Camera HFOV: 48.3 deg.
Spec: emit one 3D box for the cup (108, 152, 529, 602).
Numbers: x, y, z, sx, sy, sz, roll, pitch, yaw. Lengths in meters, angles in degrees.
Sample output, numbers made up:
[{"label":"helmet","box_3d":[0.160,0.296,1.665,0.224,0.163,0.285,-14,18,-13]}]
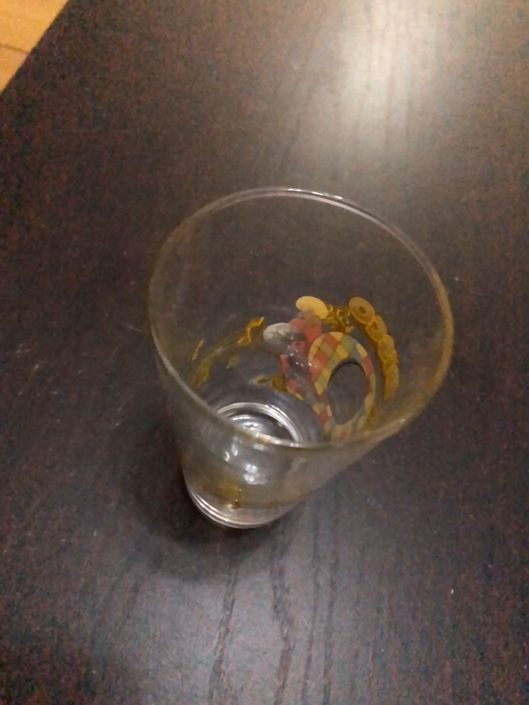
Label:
[{"label":"cup","box_3d":[0.008,0.015,0.190,0.080,0.110,0.080,4,60,-7]}]
